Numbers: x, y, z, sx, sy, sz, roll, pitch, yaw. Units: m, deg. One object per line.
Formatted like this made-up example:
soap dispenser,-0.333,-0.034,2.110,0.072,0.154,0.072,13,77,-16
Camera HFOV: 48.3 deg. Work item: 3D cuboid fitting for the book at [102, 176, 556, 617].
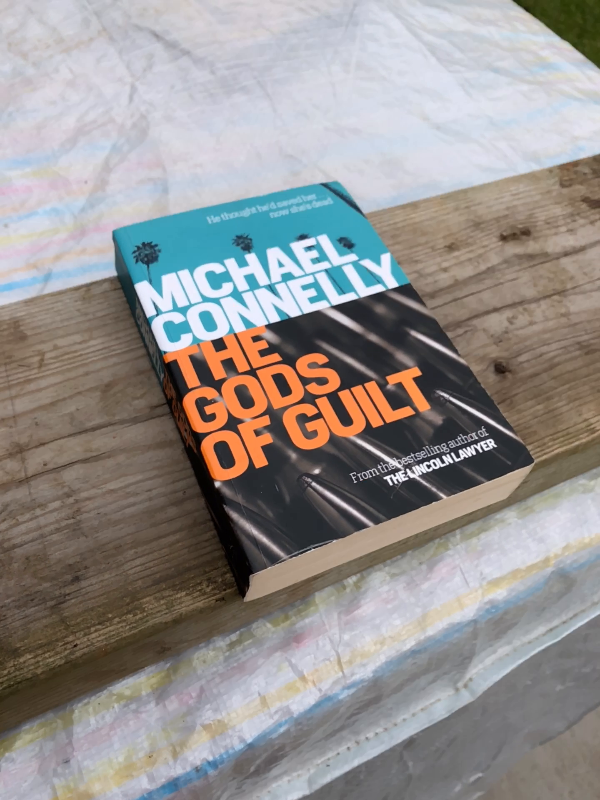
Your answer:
book,0.002,-0.020,0.327,0.140,0.040,0.201,-17,58,-18
